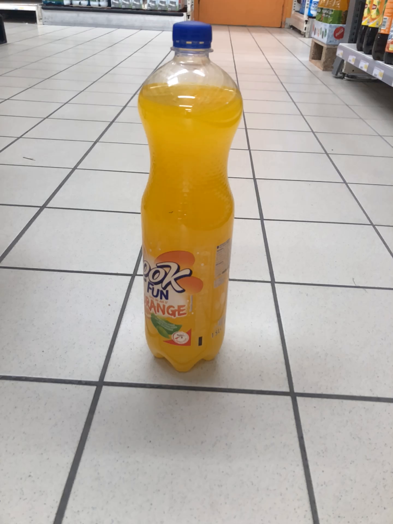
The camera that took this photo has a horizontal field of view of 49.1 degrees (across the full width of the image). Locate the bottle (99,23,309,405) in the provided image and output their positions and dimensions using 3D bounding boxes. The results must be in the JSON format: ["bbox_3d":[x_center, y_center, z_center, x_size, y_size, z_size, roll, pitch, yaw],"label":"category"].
[{"bbox_3d":[-0.002,-0.036,0.379,0.101,0.298,0.110,2,31,-1],"label":"bottle"}]
